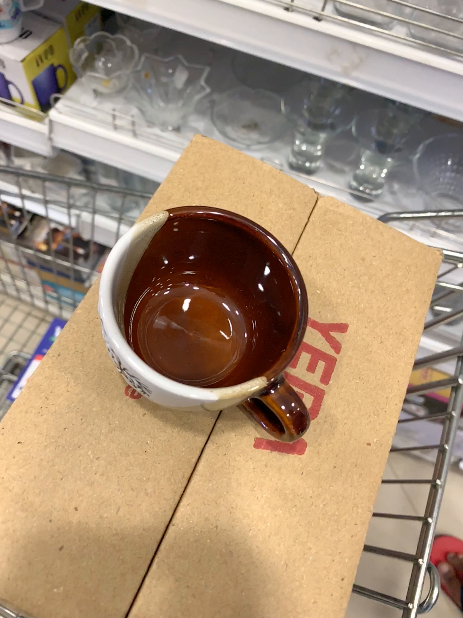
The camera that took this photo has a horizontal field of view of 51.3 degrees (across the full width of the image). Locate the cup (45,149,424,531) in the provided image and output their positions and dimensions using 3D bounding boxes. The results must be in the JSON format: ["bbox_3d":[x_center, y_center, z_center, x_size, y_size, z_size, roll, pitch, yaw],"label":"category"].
[{"bbox_3d":[-0.003,0.012,0.167,0.060,0.060,0.100,-37,78,-21],"label":"cup"}]
